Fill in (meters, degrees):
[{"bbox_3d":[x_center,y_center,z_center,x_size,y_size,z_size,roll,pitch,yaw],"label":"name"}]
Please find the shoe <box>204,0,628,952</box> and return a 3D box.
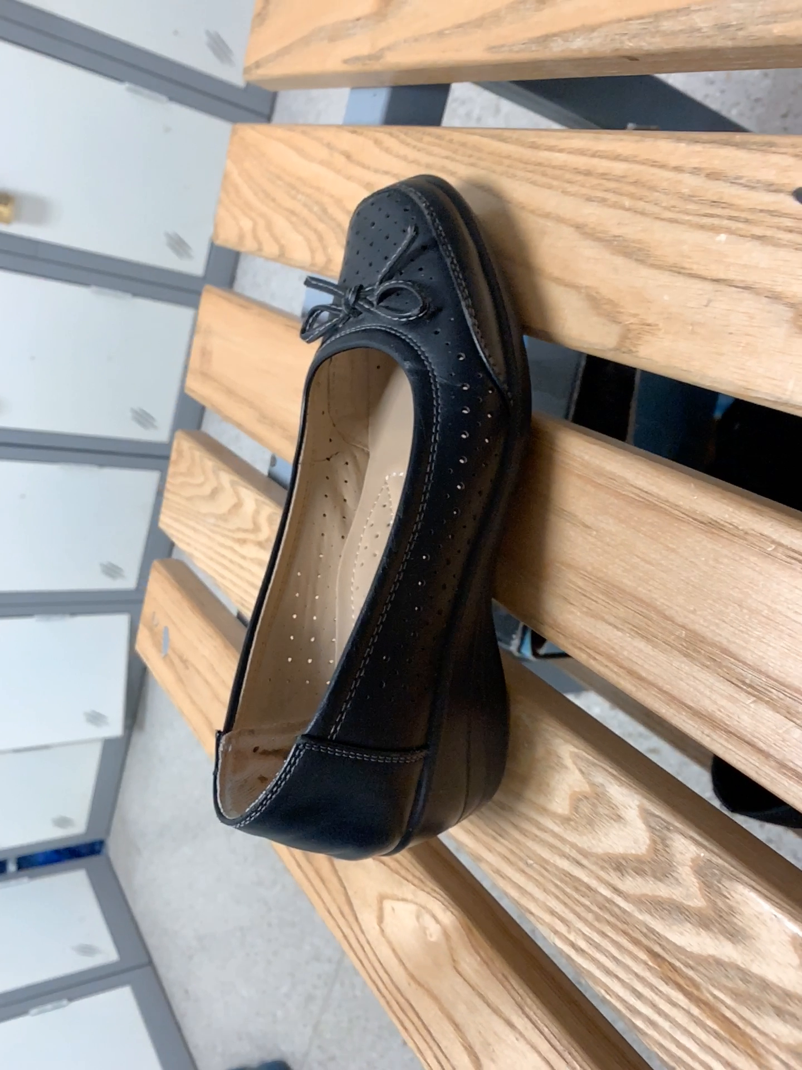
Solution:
[{"bbox_3d":[0.009,-0.019,0.297,0.087,0.109,0.272,-6,79,52],"label":"shoe"}]
